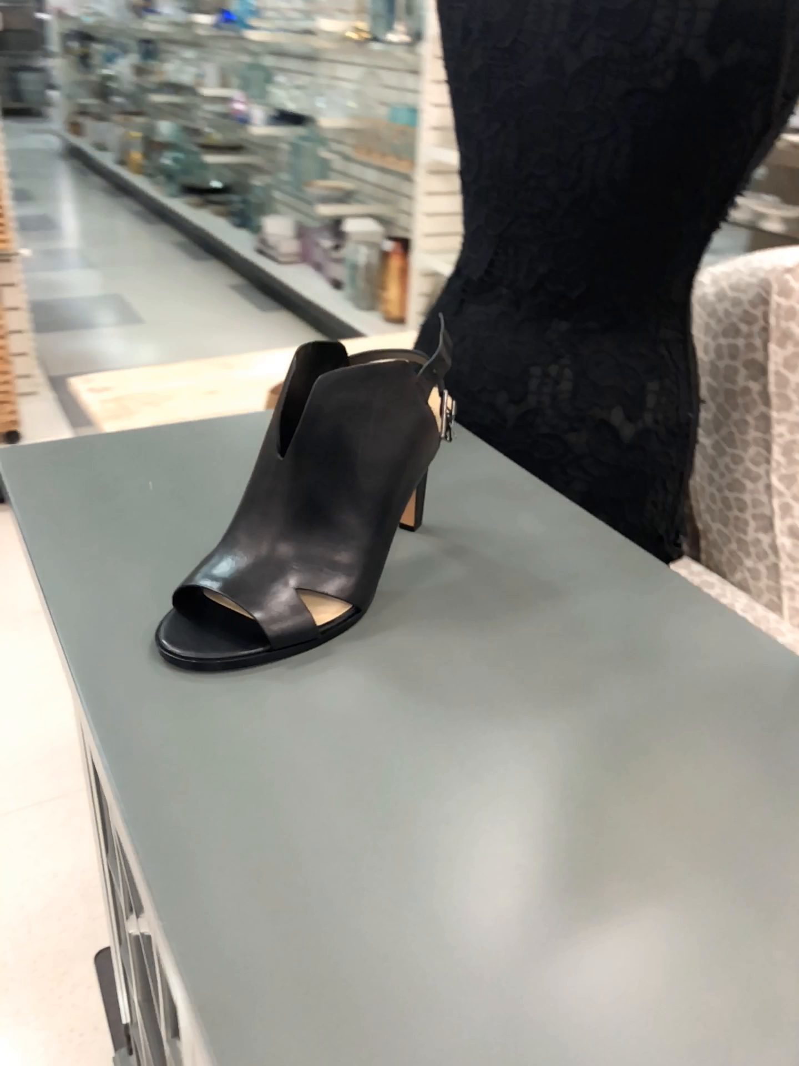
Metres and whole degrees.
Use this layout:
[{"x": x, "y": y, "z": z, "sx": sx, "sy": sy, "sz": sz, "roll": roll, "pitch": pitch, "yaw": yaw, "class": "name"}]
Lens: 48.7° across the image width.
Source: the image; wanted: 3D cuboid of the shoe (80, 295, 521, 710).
[{"x": -0.043, "y": -0.035, "z": 0.512, "sx": 0.095, "sy": 0.150, "sz": 0.237, "roll": 24, "pitch": 35, "yaw": 34, "class": "shoe"}]
